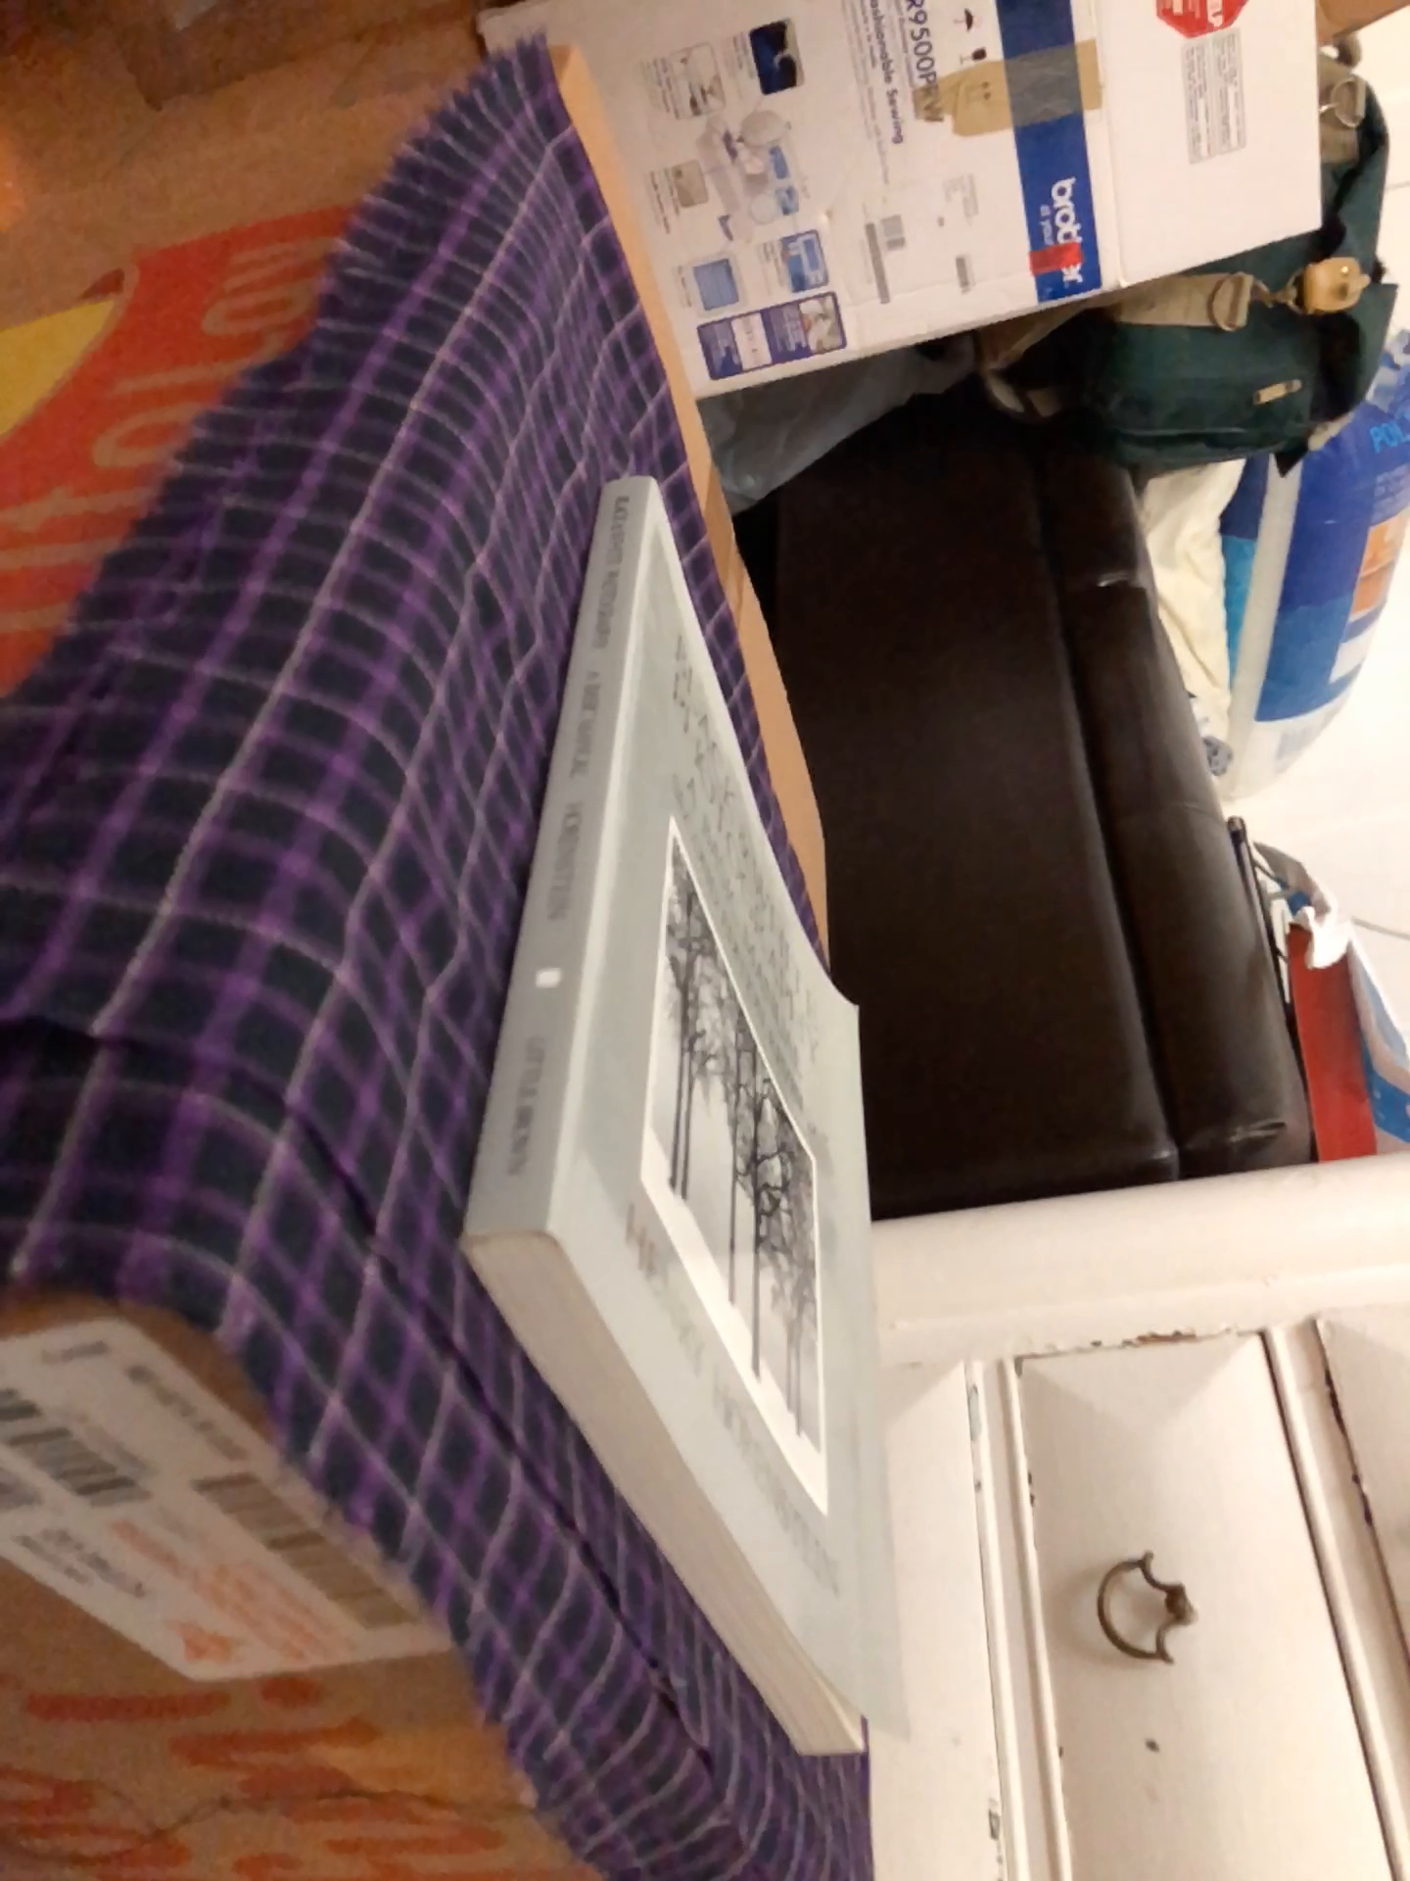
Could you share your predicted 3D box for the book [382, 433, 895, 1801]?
[{"bbox_3d":[0.004,0.034,0.375,0.251,0.030,0.210,-87,161,-47],"label":"book"}]
